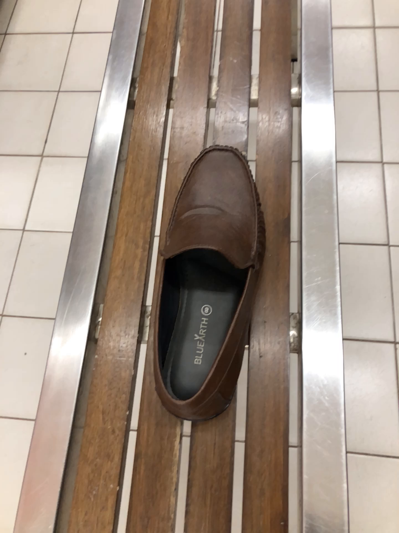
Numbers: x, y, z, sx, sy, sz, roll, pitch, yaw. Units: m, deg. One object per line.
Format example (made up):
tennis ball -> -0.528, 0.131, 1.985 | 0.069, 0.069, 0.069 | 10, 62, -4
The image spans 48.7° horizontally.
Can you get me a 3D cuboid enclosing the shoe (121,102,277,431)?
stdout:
shoe -> 0.013, -0.006, 0.431 | 0.104, 0.094, 0.302 | 4, 70, 8
